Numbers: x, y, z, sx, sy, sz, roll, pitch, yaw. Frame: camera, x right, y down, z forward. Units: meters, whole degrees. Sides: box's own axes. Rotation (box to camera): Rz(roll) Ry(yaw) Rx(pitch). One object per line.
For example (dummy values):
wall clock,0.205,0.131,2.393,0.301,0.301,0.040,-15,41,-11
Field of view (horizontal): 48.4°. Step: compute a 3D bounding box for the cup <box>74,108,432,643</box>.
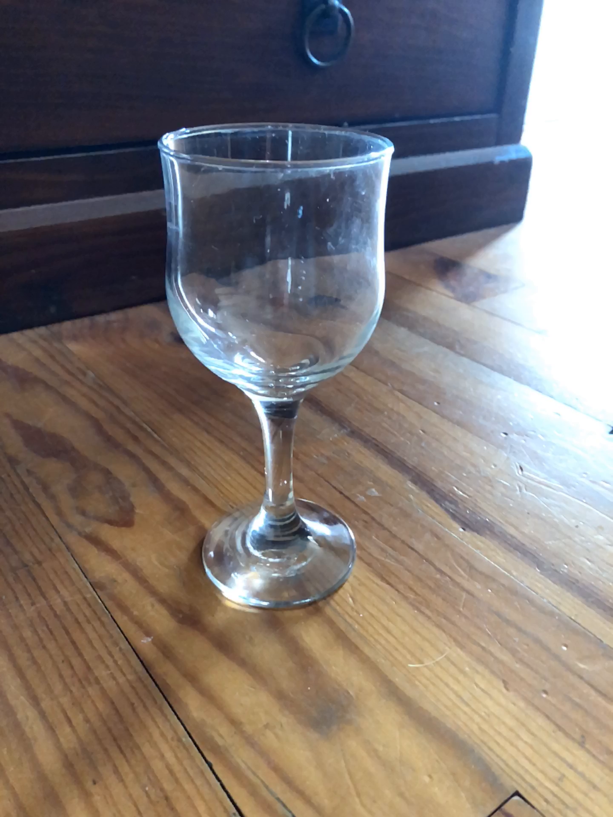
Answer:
cup,-0.012,-0.014,0.241,0.076,0.157,0.083,1,30,0
